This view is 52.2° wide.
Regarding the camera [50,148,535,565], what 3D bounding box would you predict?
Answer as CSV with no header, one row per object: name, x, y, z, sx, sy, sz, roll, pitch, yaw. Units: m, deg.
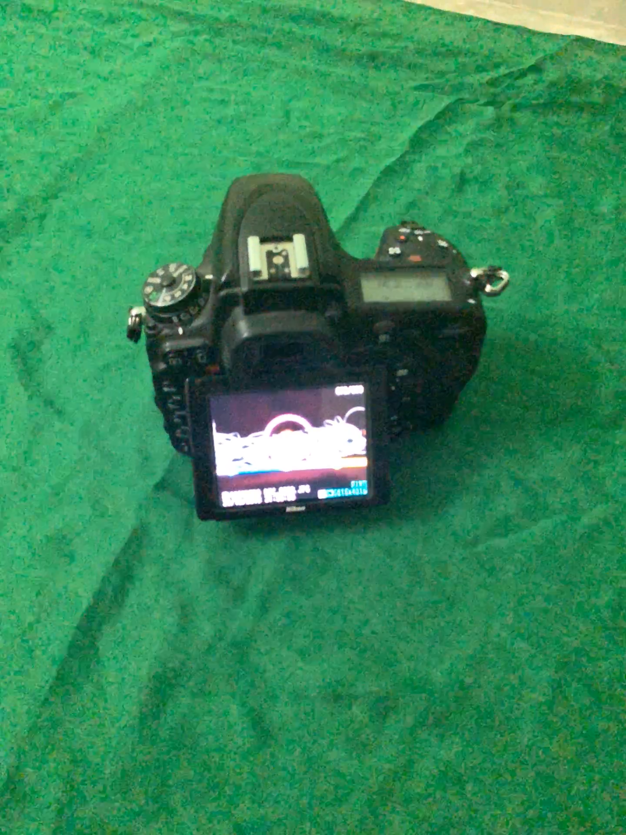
camera,-0.011,-0.025,0.264,0.142,0.100,0.129,-4,56,-3
